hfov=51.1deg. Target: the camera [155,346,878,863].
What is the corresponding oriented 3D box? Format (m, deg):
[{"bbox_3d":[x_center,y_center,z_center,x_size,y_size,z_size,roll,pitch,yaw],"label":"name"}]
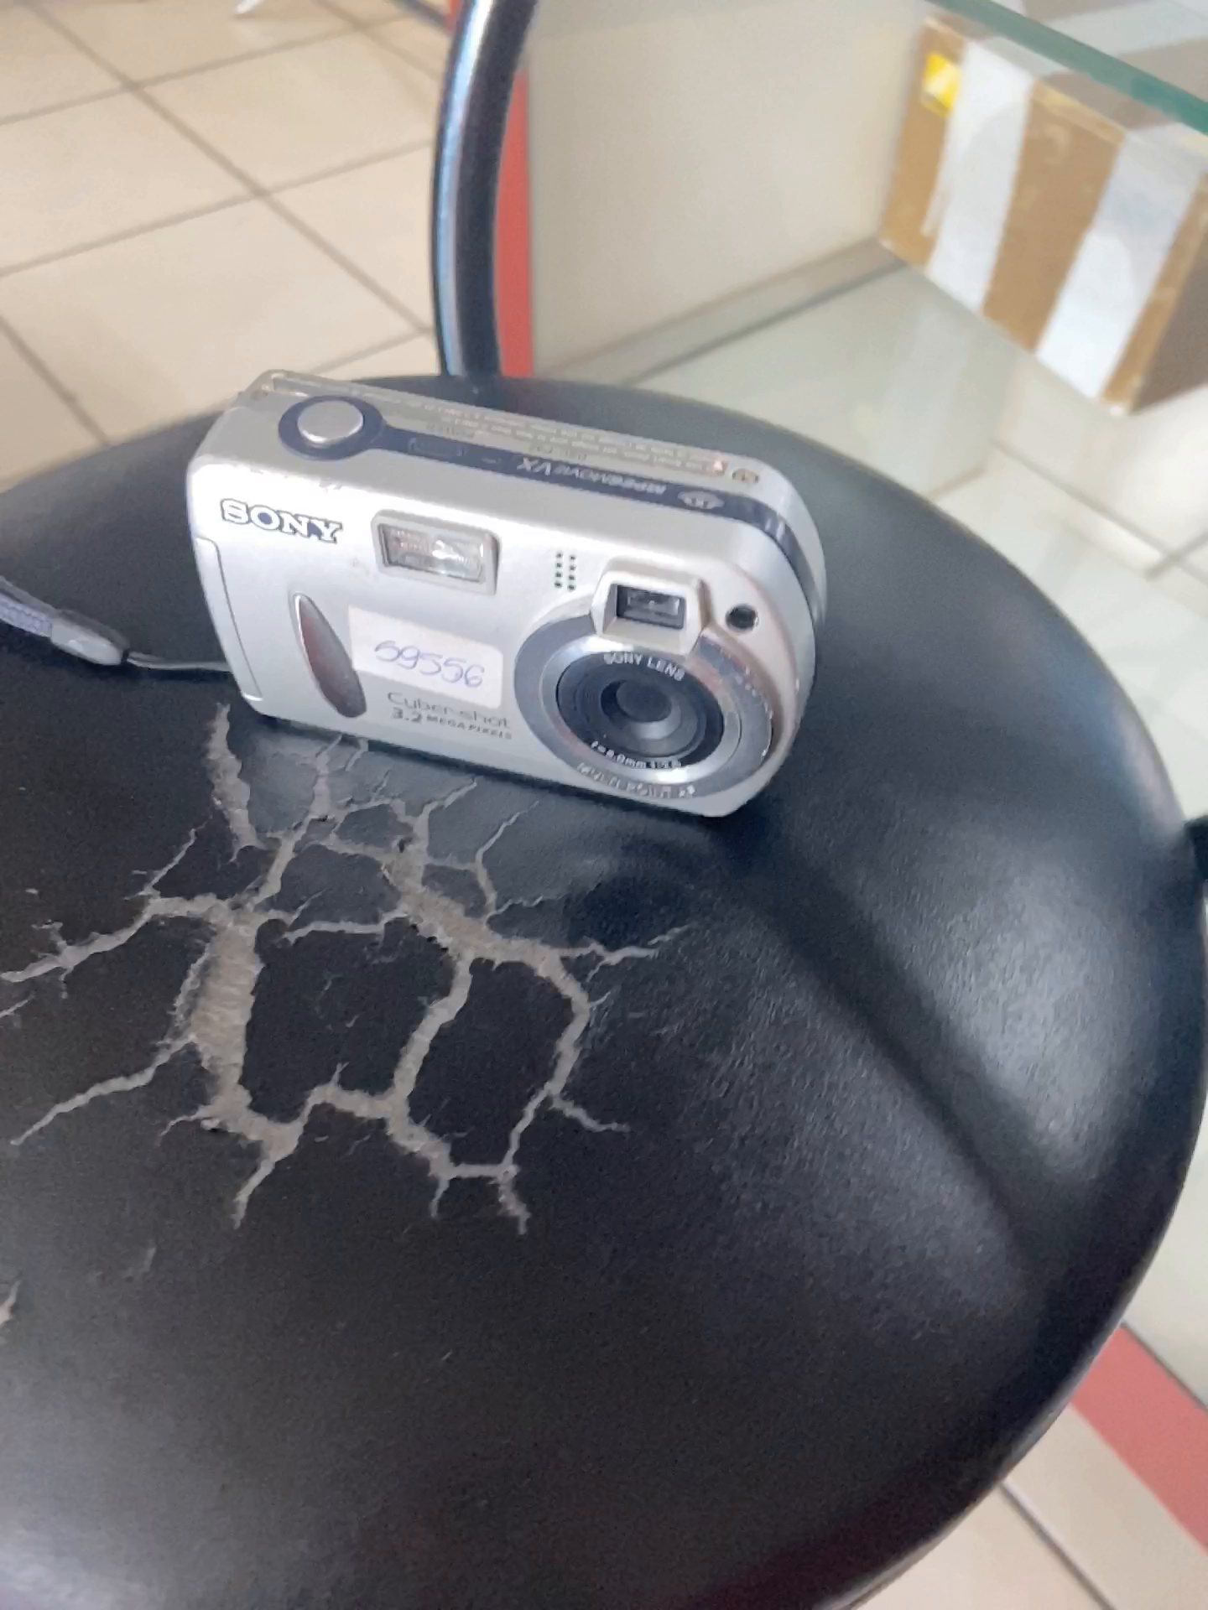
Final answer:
[{"bbox_3d":[-0.013,-0.033,0.208,0.100,0.050,0.040,14,52,9],"label":"camera"}]
